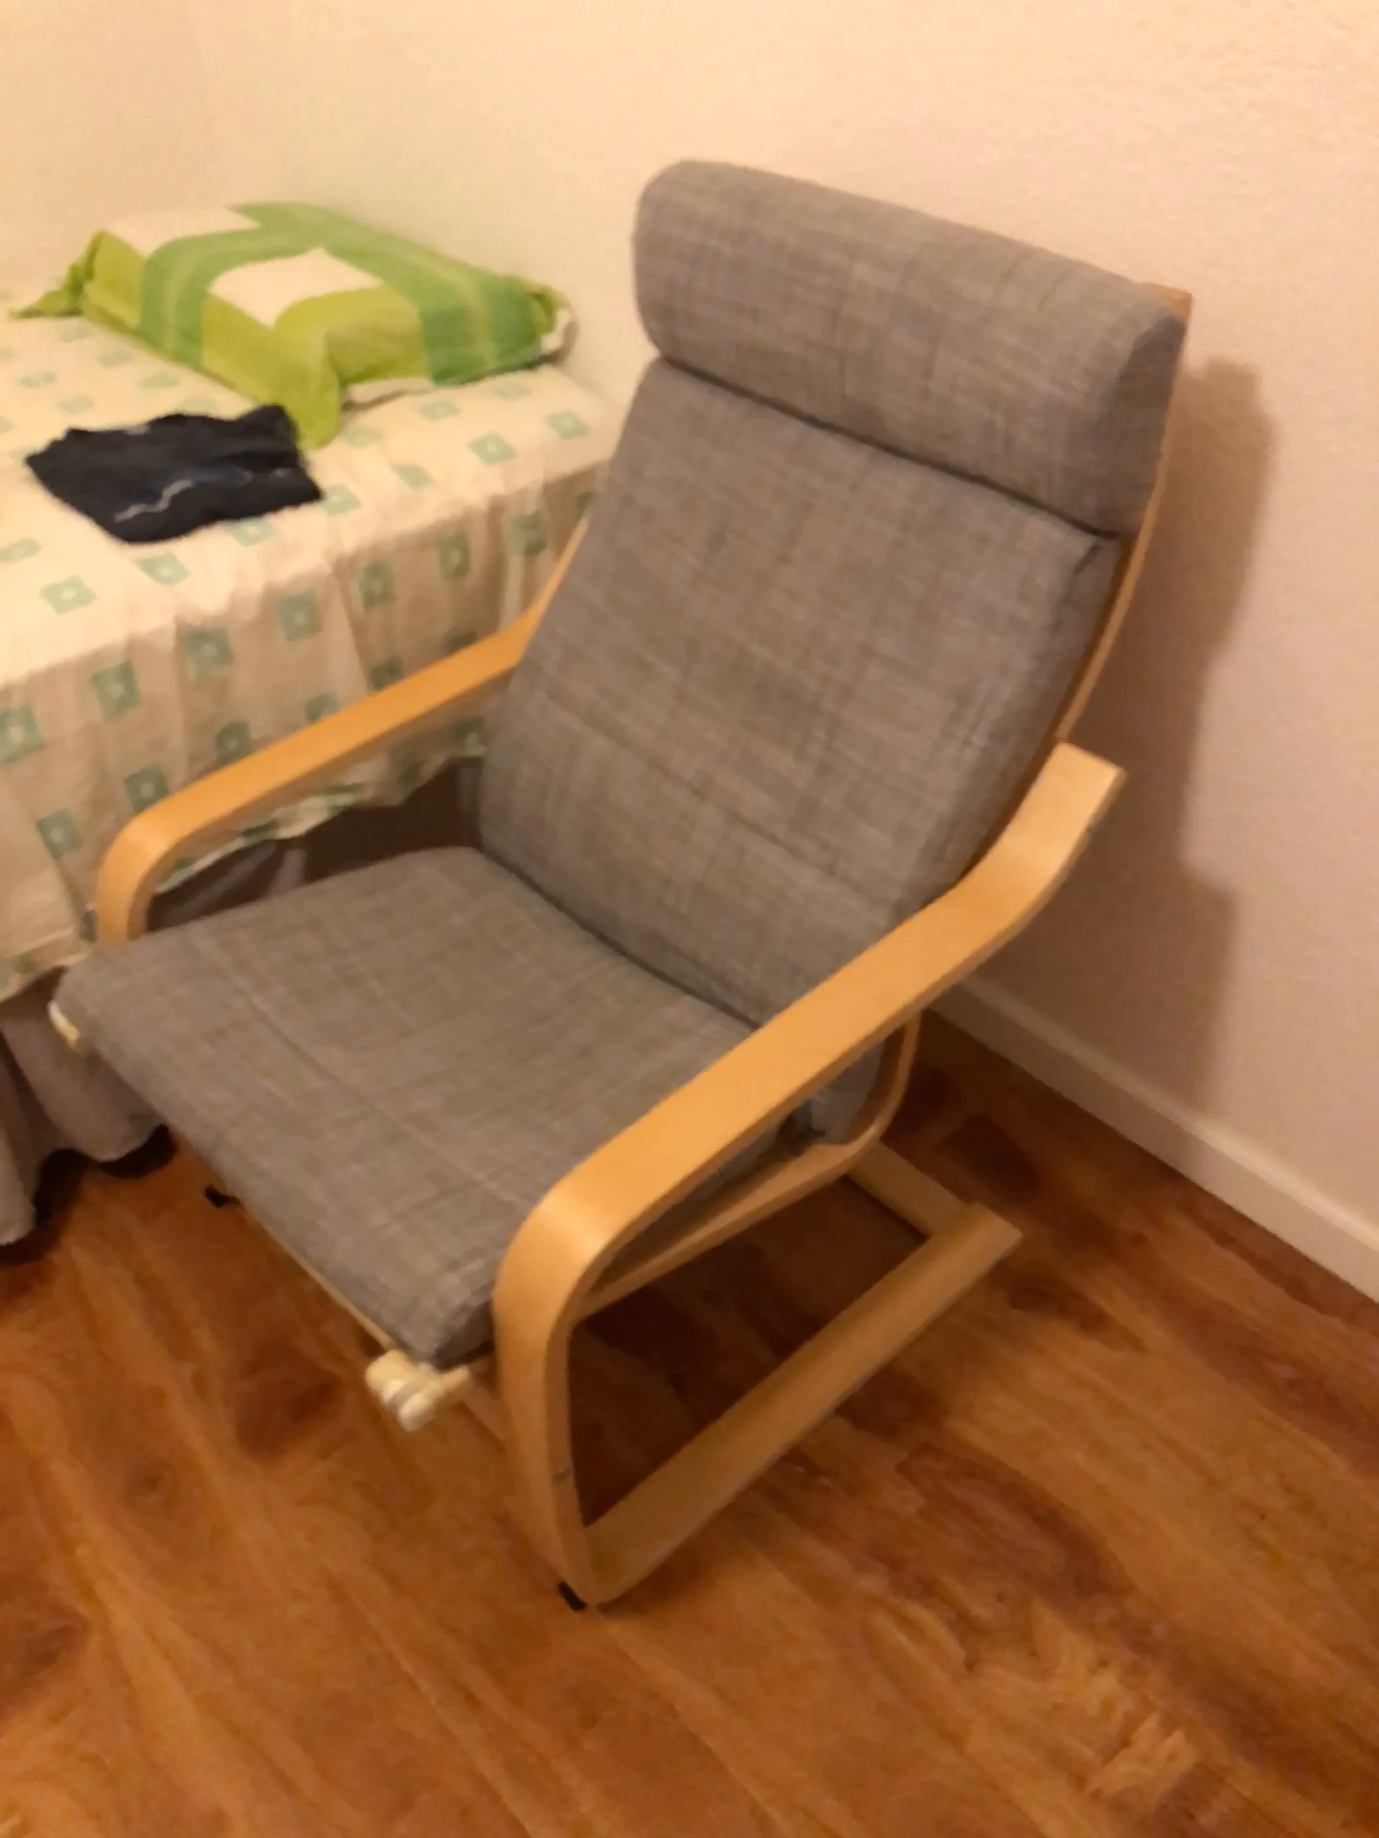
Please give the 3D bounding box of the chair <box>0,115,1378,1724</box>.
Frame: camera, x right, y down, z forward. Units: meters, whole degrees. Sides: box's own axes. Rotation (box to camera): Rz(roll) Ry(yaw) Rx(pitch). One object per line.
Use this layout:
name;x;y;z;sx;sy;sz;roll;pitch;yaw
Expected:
chair;-0.065;-0.064;1.280;0.802;0.885;0.682;-30;47;-30
